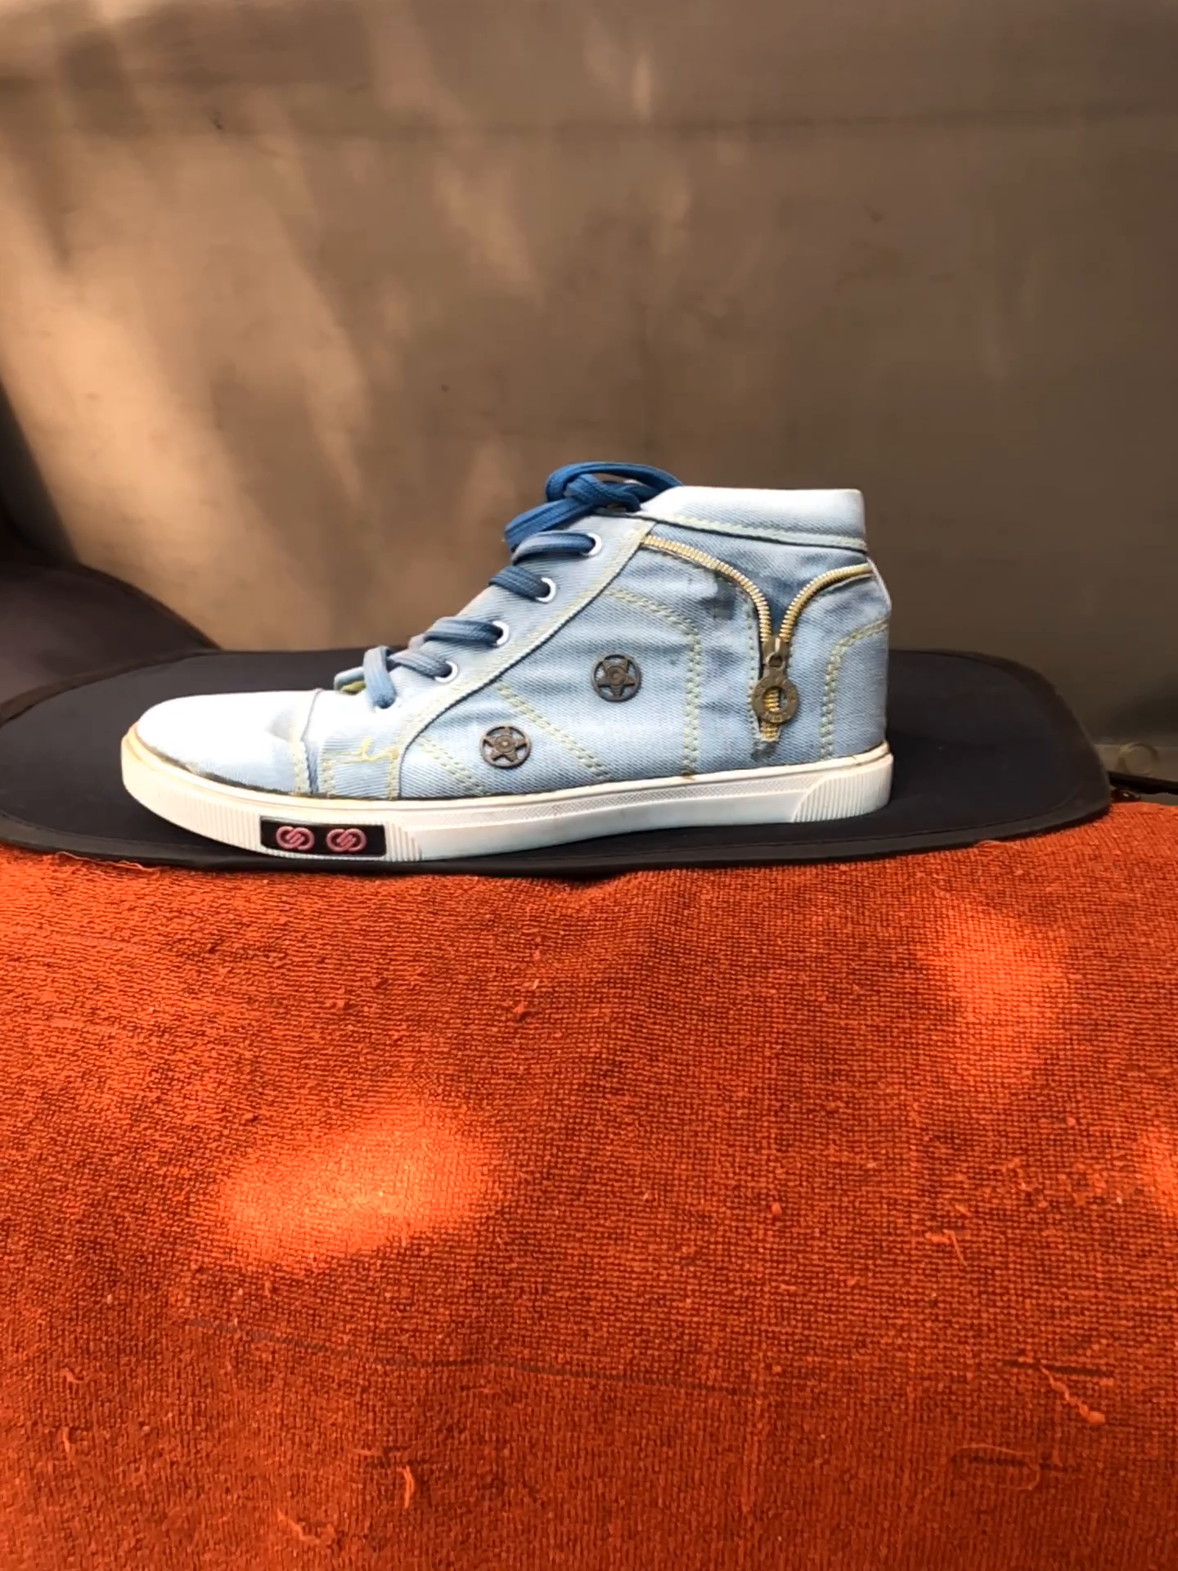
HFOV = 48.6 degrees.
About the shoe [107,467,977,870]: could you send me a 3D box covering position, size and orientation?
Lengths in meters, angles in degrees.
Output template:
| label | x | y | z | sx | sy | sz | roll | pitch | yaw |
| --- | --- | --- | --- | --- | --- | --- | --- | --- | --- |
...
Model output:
| label | x | y | z | sx | sy | sz | roll | pitch | yaw |
| --- | --- | --- | --- | --- | --- | --- | --- | --- | --- |
| shoe | -0.016 | -0.049 | 0.457 | 0.260 | 0.110 | 0.110 | -2 | 19 | -8 |
